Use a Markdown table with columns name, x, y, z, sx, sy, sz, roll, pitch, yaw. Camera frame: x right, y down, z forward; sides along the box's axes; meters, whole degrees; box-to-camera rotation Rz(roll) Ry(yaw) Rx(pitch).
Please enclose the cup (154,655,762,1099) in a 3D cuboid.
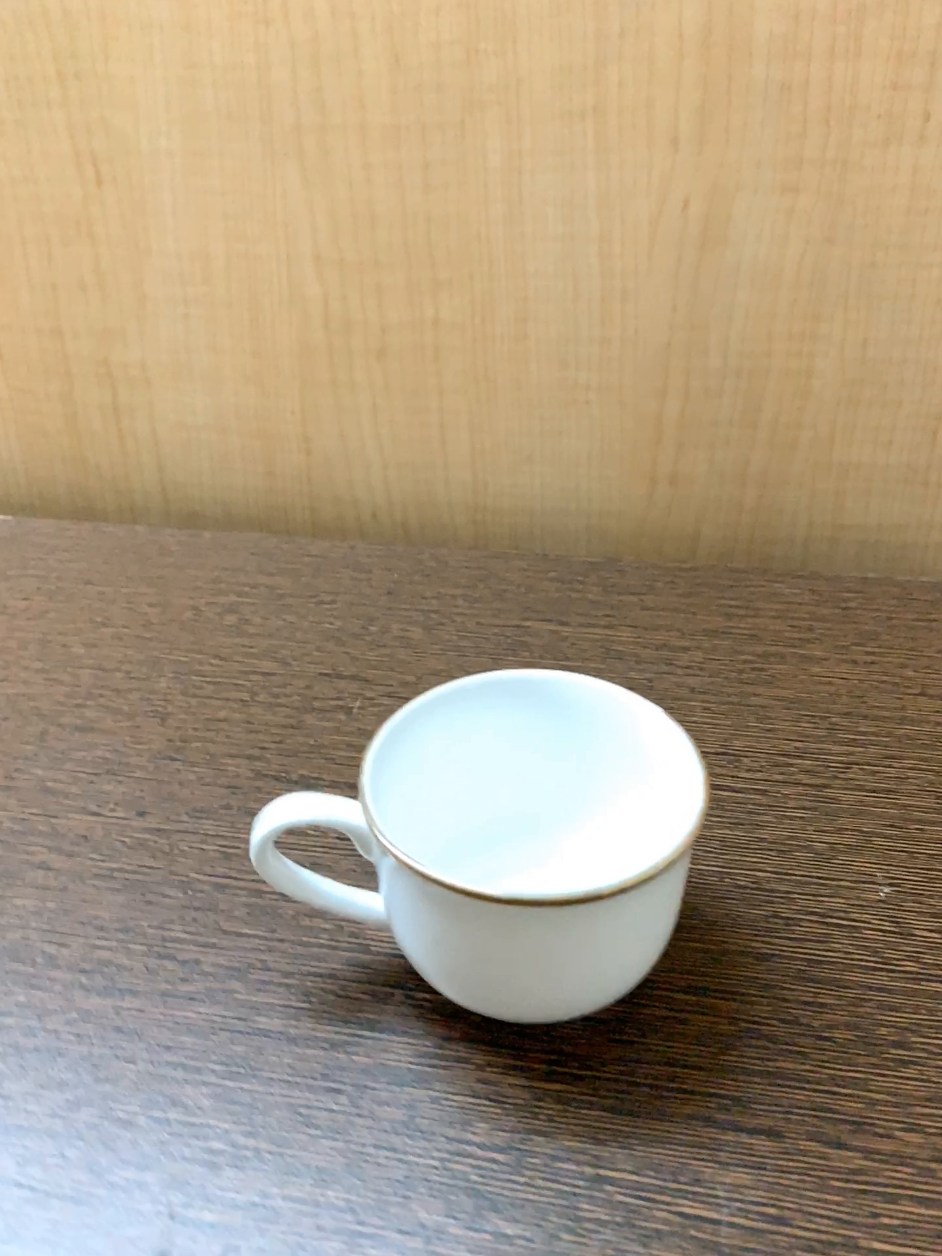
| name | x | y | z | sx | sy | sz | roll | pitch | yaw |
| --- | --- | --- | --- | --- | --- | --- | --- | --- | --- |
| cup | -0.002 | 0.043 | 0.184 | 0.090 | 0.050 | 0.061 | -1 | 31 | -1 |
